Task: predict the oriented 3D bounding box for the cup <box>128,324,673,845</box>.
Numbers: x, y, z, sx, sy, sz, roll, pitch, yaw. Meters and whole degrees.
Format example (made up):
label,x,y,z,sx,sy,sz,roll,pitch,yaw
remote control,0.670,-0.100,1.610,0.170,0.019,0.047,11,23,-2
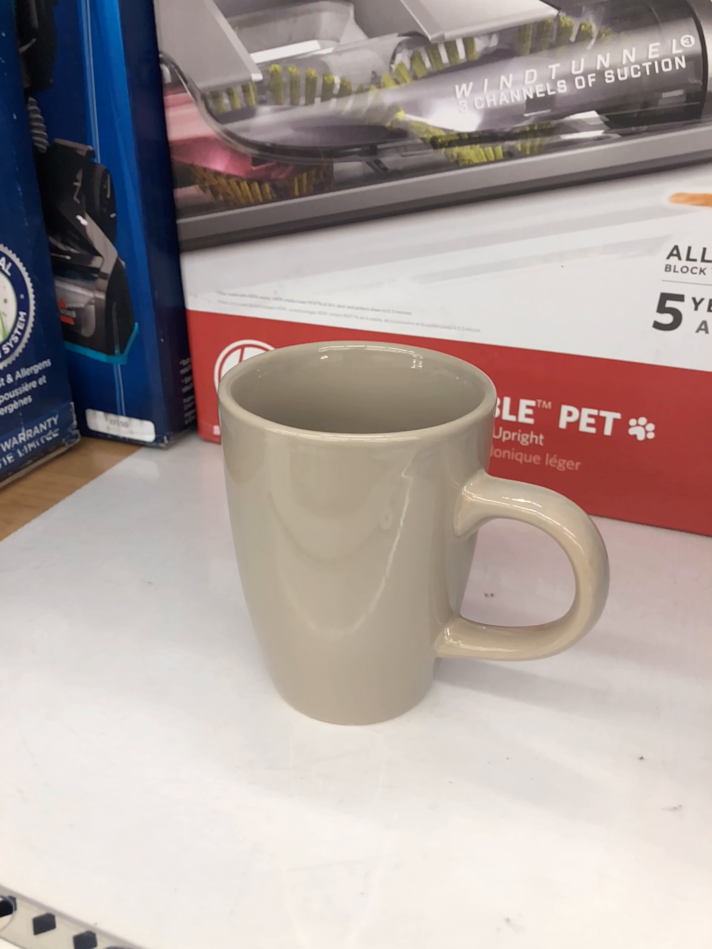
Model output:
label,x,y,z,sx,sy,sz,roll,pitch,yaw
cup,0.014,0.020,0.242,0.125,0.092,0.088,16,31,28
